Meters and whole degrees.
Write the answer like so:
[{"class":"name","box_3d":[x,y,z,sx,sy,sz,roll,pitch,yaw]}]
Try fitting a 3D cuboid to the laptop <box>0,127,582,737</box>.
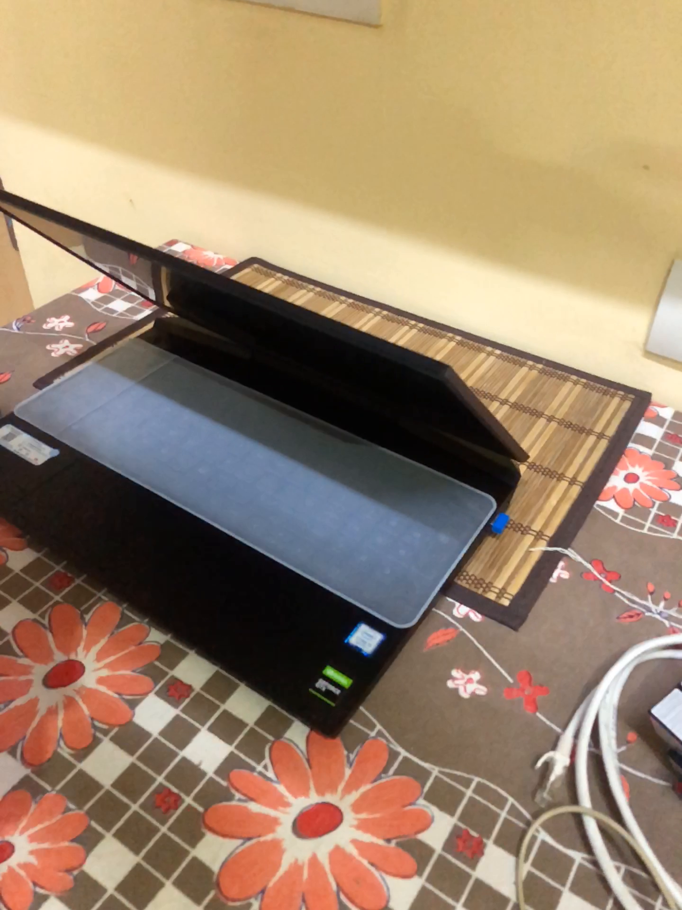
[{"class":"laptop","box_3d":[-0.079,-0.054,0.484,0.356,0.164,0.237,24,49,26]}]
